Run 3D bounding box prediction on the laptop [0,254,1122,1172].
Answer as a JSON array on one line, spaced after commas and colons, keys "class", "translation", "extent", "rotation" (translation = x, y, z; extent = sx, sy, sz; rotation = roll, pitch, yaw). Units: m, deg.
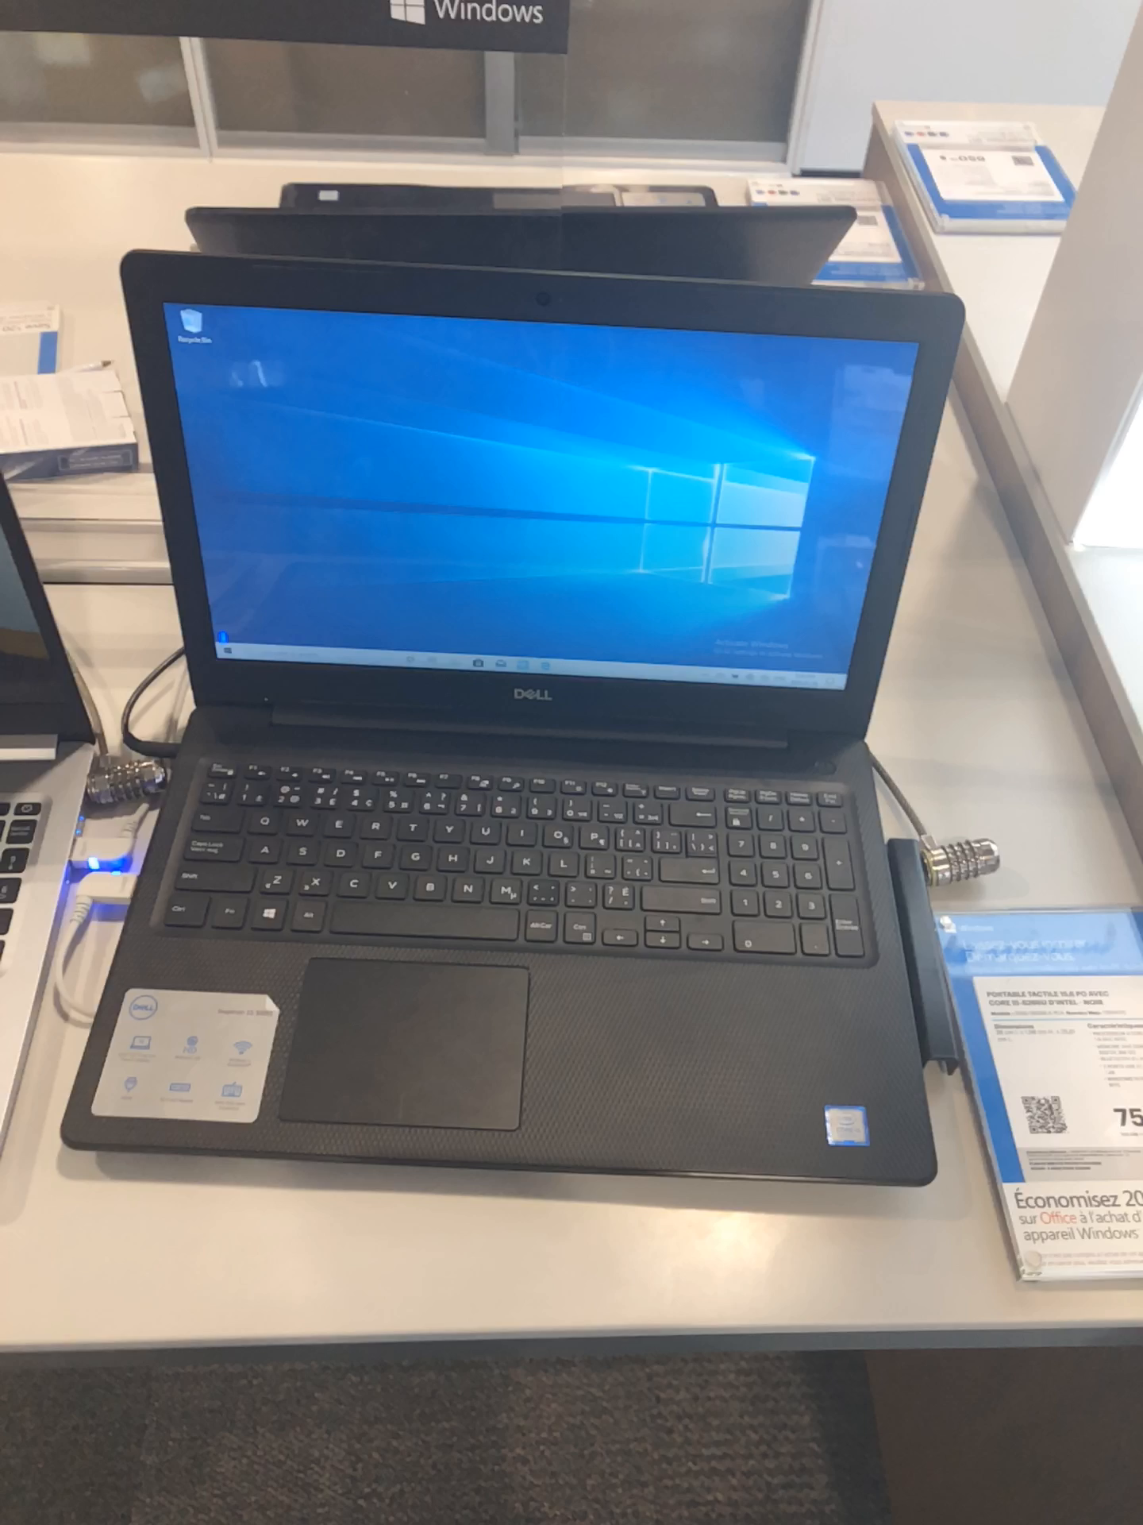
[{"class": "laptop", "translation": [-0.025, -0.025, 0.553], "extent": [0.368, 0.230, 0.311], "rotation": [3, 50, -1]}]
